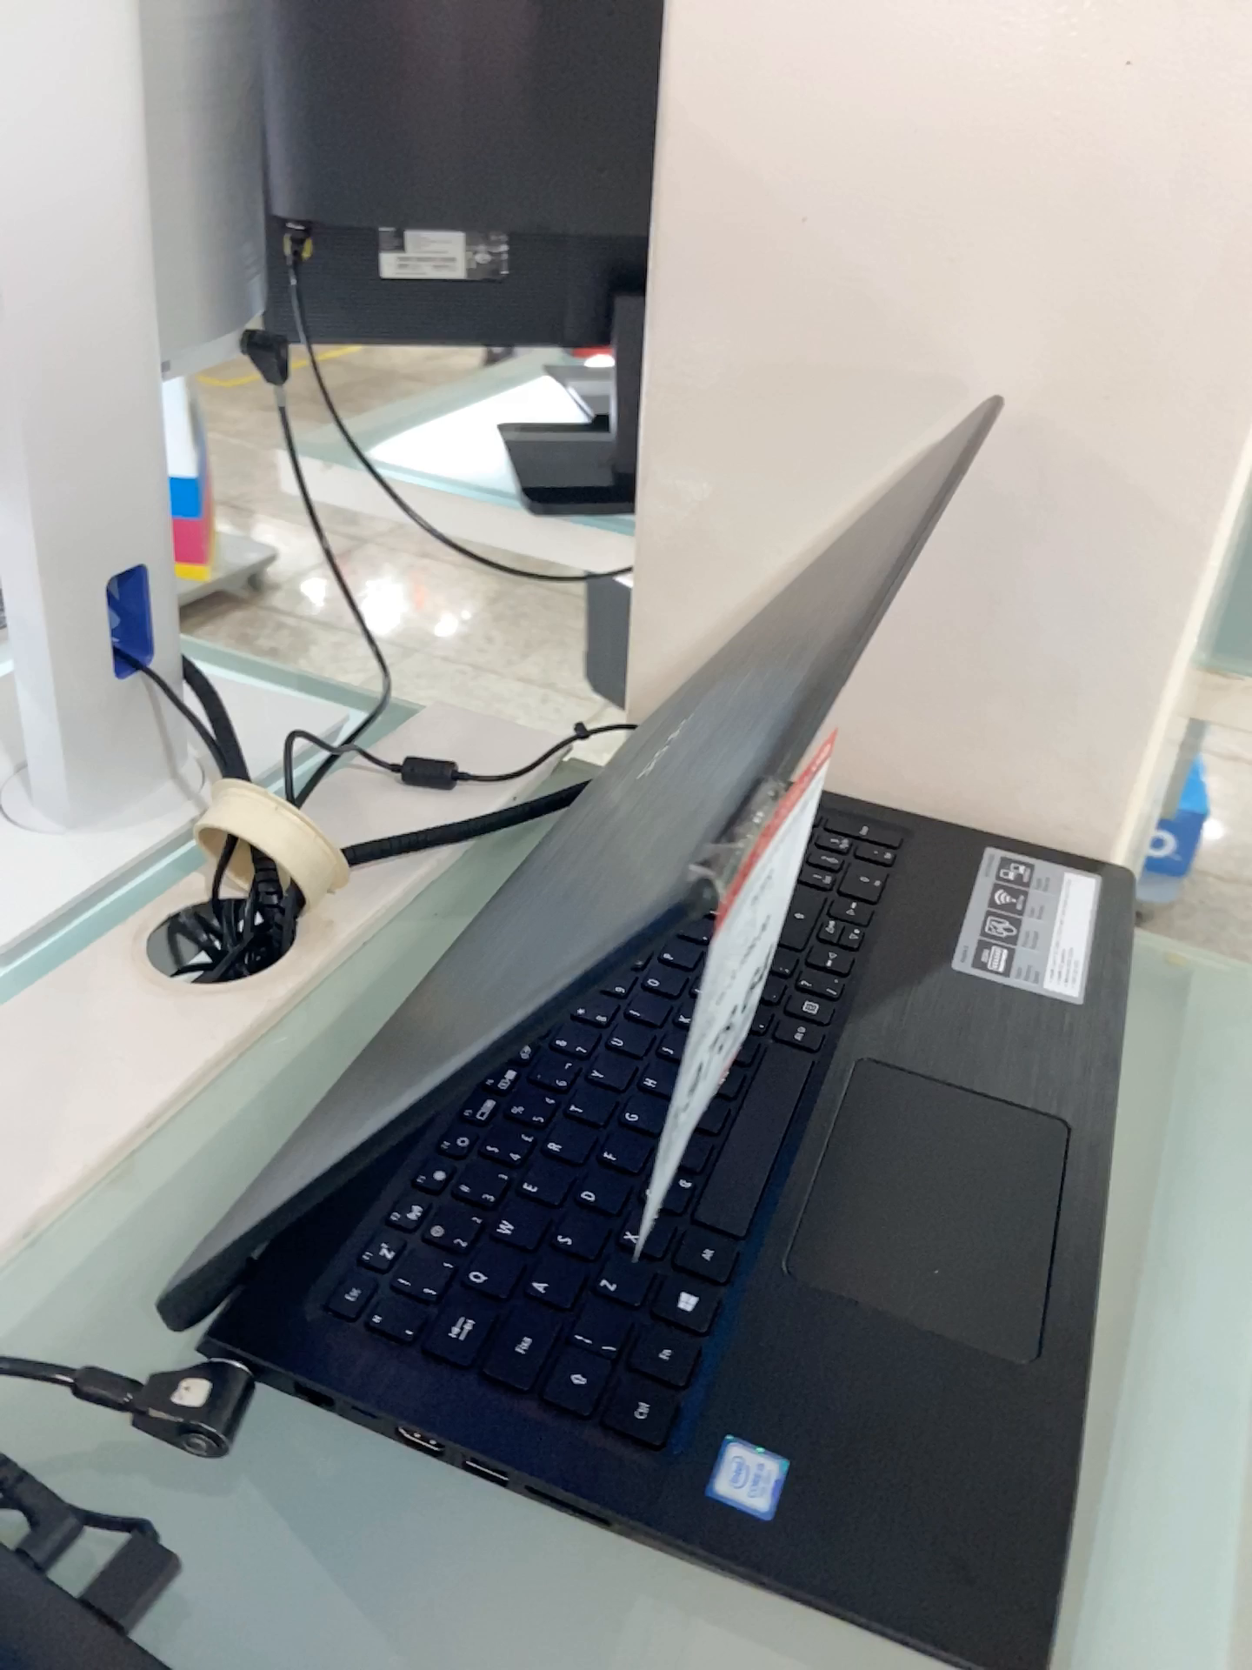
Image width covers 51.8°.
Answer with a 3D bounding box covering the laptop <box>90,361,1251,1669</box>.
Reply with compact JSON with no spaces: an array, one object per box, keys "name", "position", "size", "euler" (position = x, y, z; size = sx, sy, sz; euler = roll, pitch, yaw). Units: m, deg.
[{"name":"laptop","position":[0.062,0.000,0.431],"size":[0.233,0.193,0.369],"euler":[15,35,16]}]
